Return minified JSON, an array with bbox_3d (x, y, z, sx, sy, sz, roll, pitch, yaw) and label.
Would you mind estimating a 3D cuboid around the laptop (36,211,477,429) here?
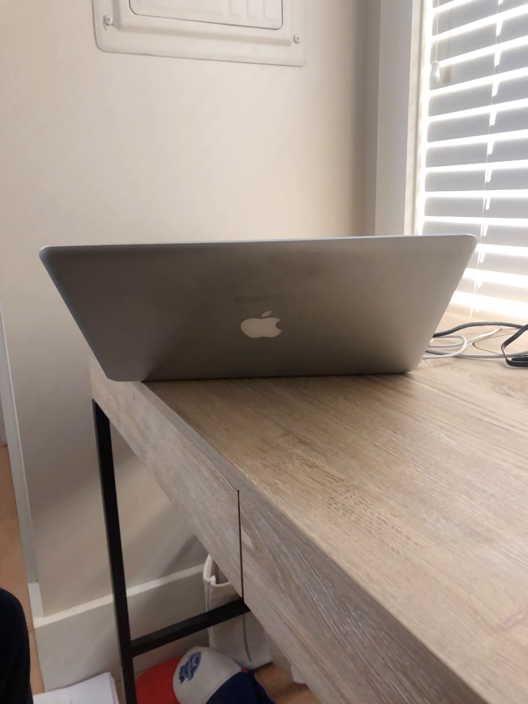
[{"bbox_3d":[-0.009,-0.061,0.602,0.319,0.133,0.347,-2,17,-1],"label":"laptop"}]
